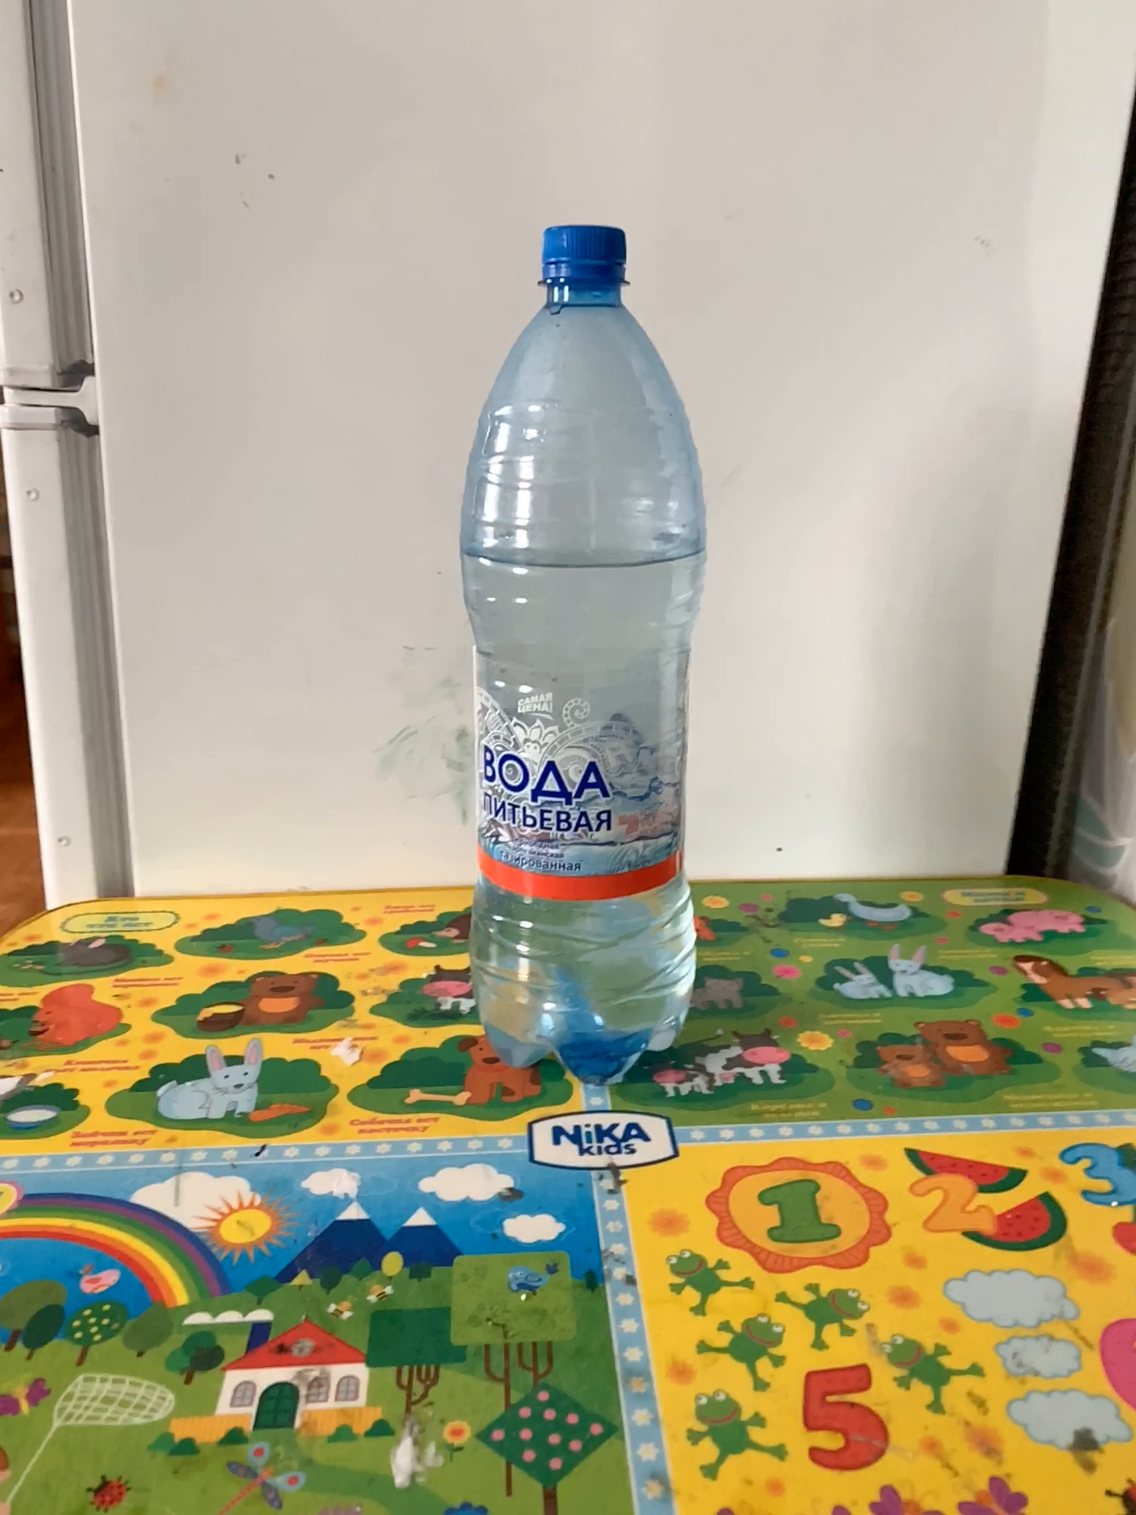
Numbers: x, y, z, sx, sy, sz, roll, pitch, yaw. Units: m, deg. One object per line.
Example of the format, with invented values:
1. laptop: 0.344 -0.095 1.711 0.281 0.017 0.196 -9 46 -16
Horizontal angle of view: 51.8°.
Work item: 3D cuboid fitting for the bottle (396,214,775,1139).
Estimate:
1. bottle: 0.010 -0.029 0.454 0.100 0.318 0.101 0 18 0
